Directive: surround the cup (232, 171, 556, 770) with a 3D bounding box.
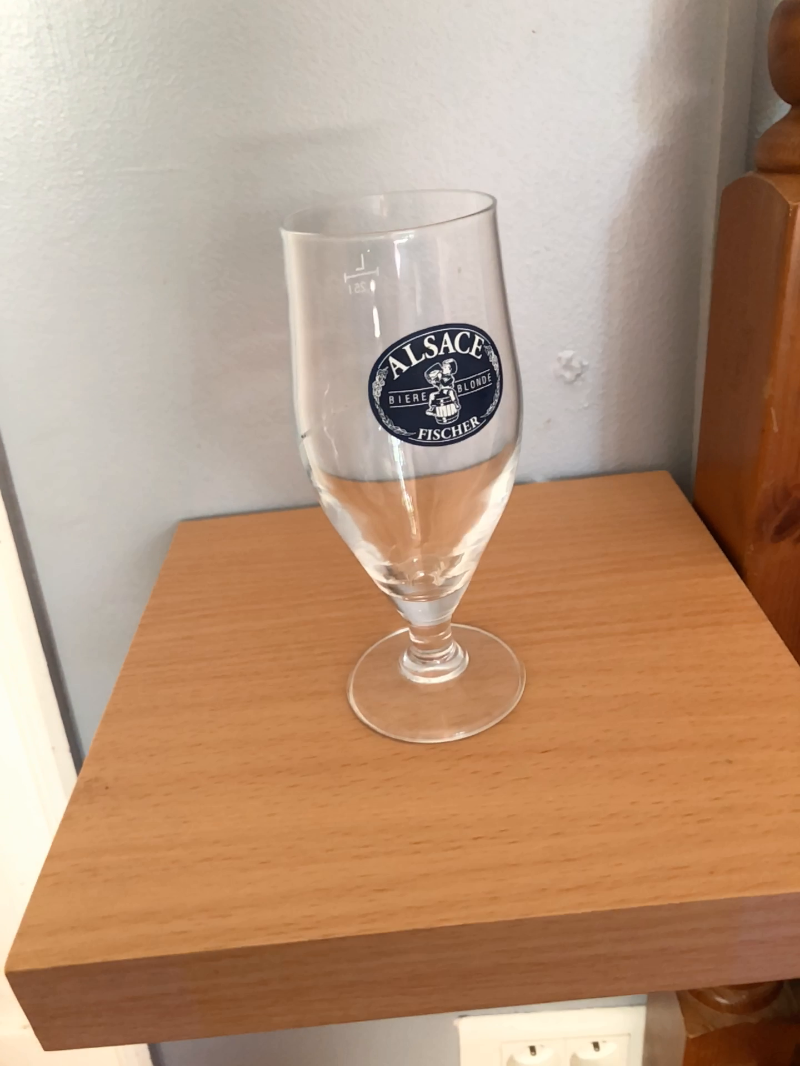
[{"bbox_3d":[0.001,-0.019,0.283,0.068,0.166,0.068,-6,28,3],"label":"cup"}]
